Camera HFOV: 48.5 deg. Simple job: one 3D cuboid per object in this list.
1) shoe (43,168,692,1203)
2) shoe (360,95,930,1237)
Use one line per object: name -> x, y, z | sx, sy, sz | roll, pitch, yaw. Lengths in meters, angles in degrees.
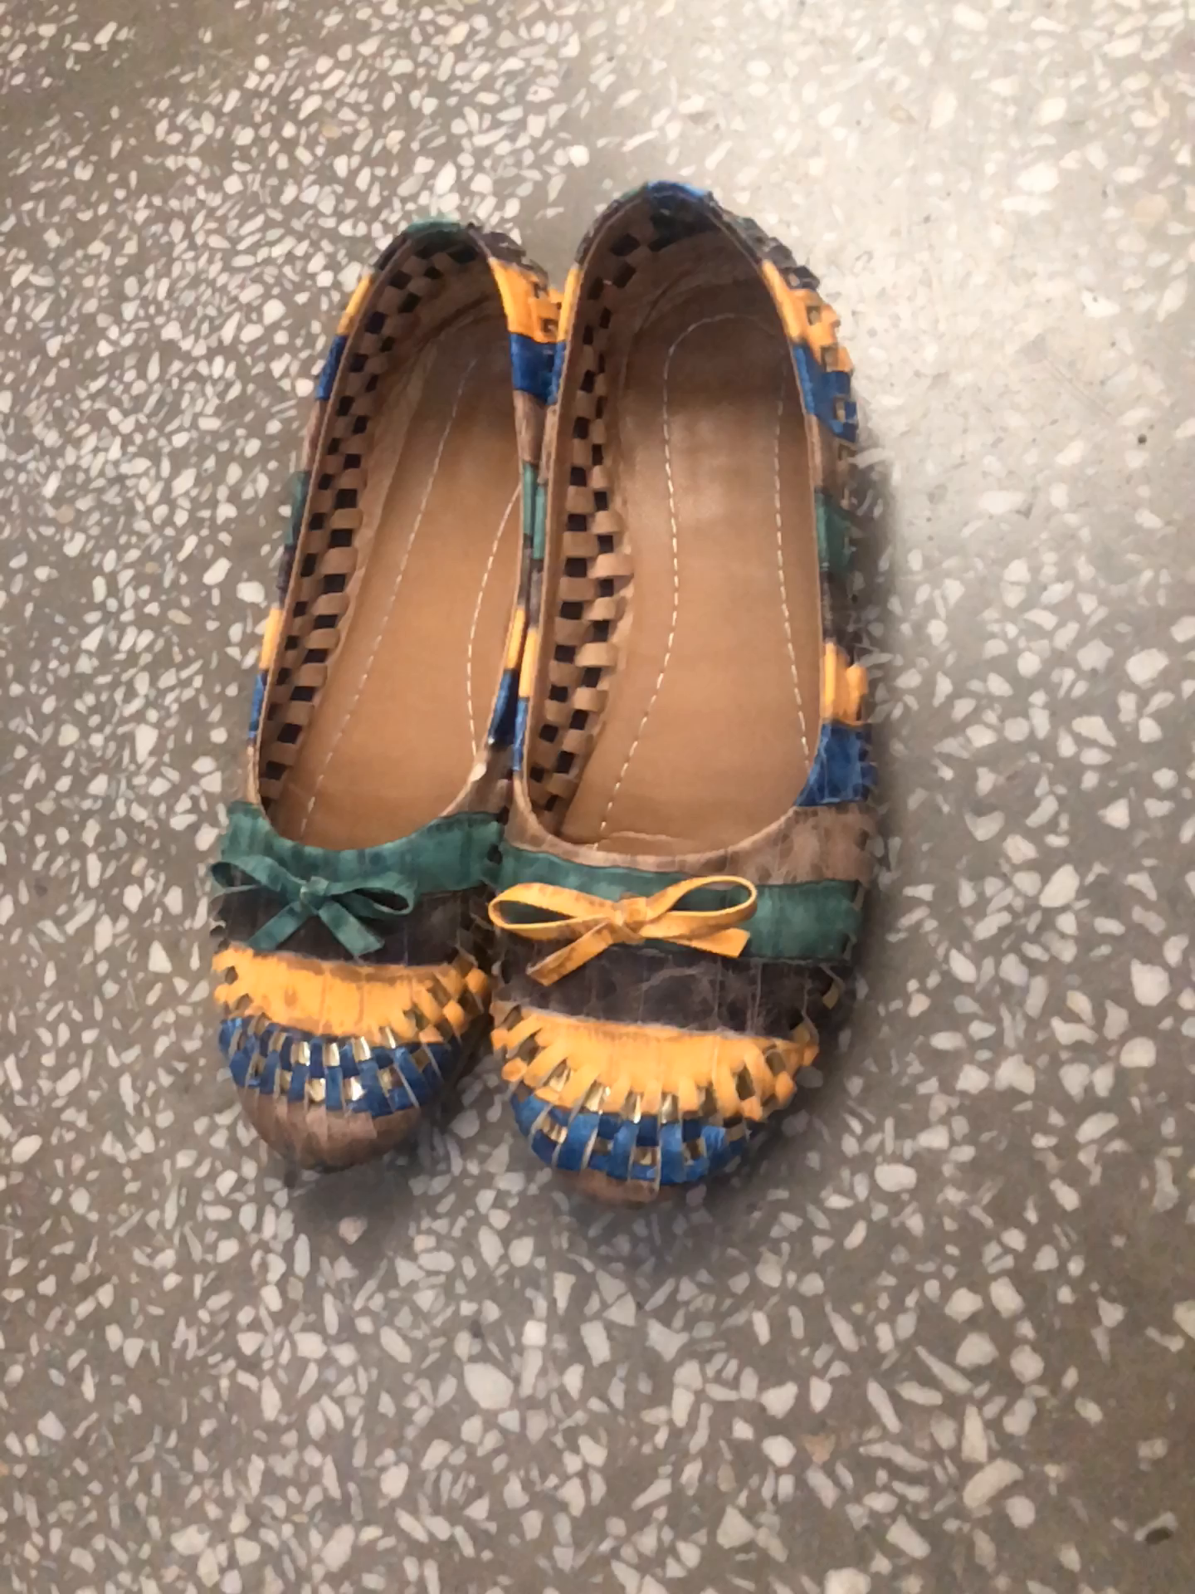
shoe -> -0.050, -0.028, 0.339 | 0.090, 0.074, 0.237 | 6, 78, 24
shoe -> 0.020, -0.029, 0.311 | 0.090, 0.074, 0.237 | 1, 76, 23
